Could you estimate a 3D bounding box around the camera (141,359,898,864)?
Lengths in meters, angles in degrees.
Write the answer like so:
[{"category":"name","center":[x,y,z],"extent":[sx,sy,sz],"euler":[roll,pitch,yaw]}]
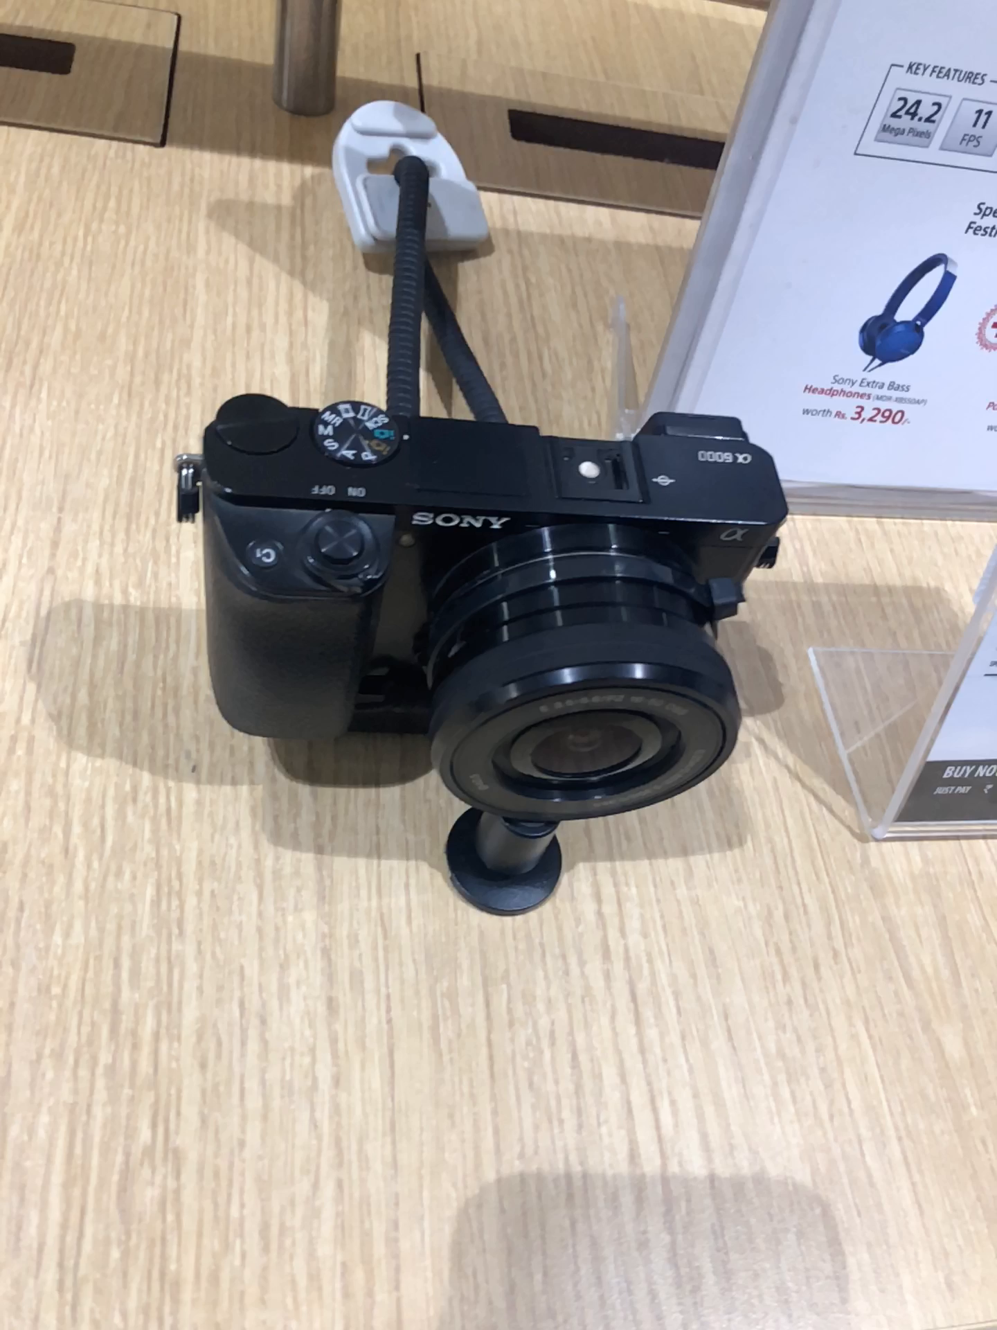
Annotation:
[{"category":"camera","center":[-0.003,-0.009,0.231],"extent":[0.130,0.070,0.070],"euler":[0,56,-14]}]
